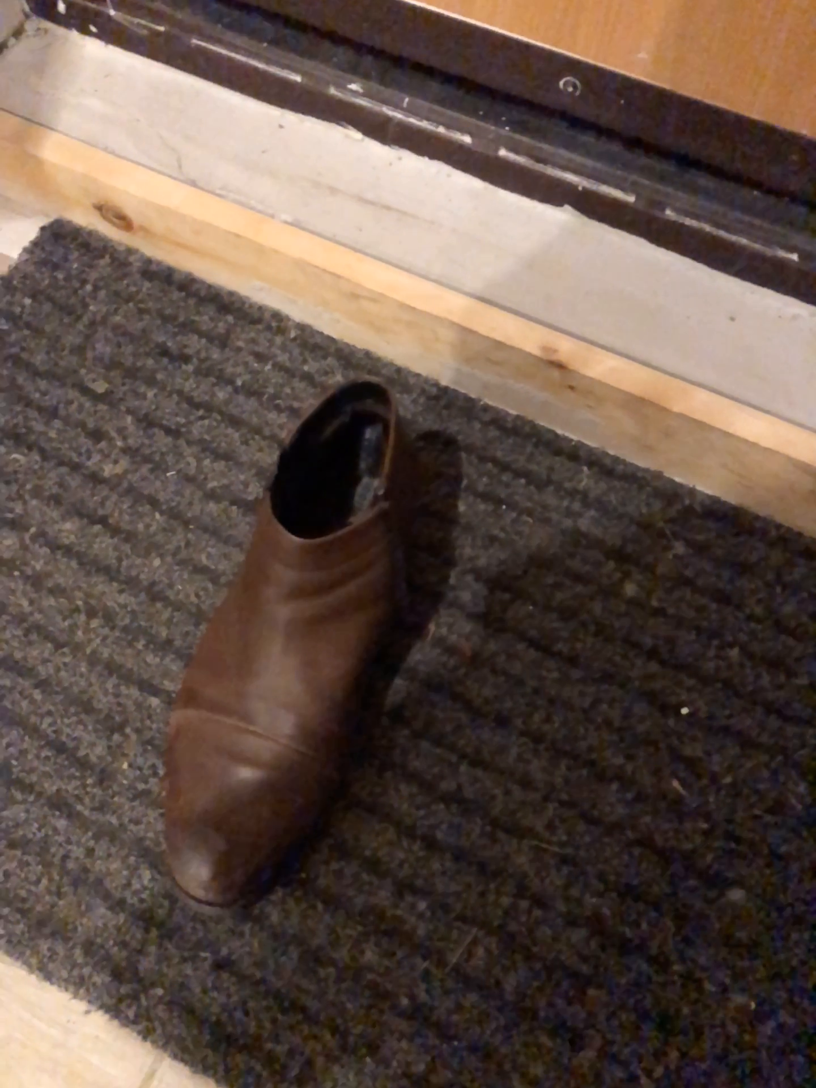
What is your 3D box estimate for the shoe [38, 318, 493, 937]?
[{"bbox_3d":[-0.057,0.043,0.502,0.110,0.129,0.301,19,66,9],"label":"shoe"}]
